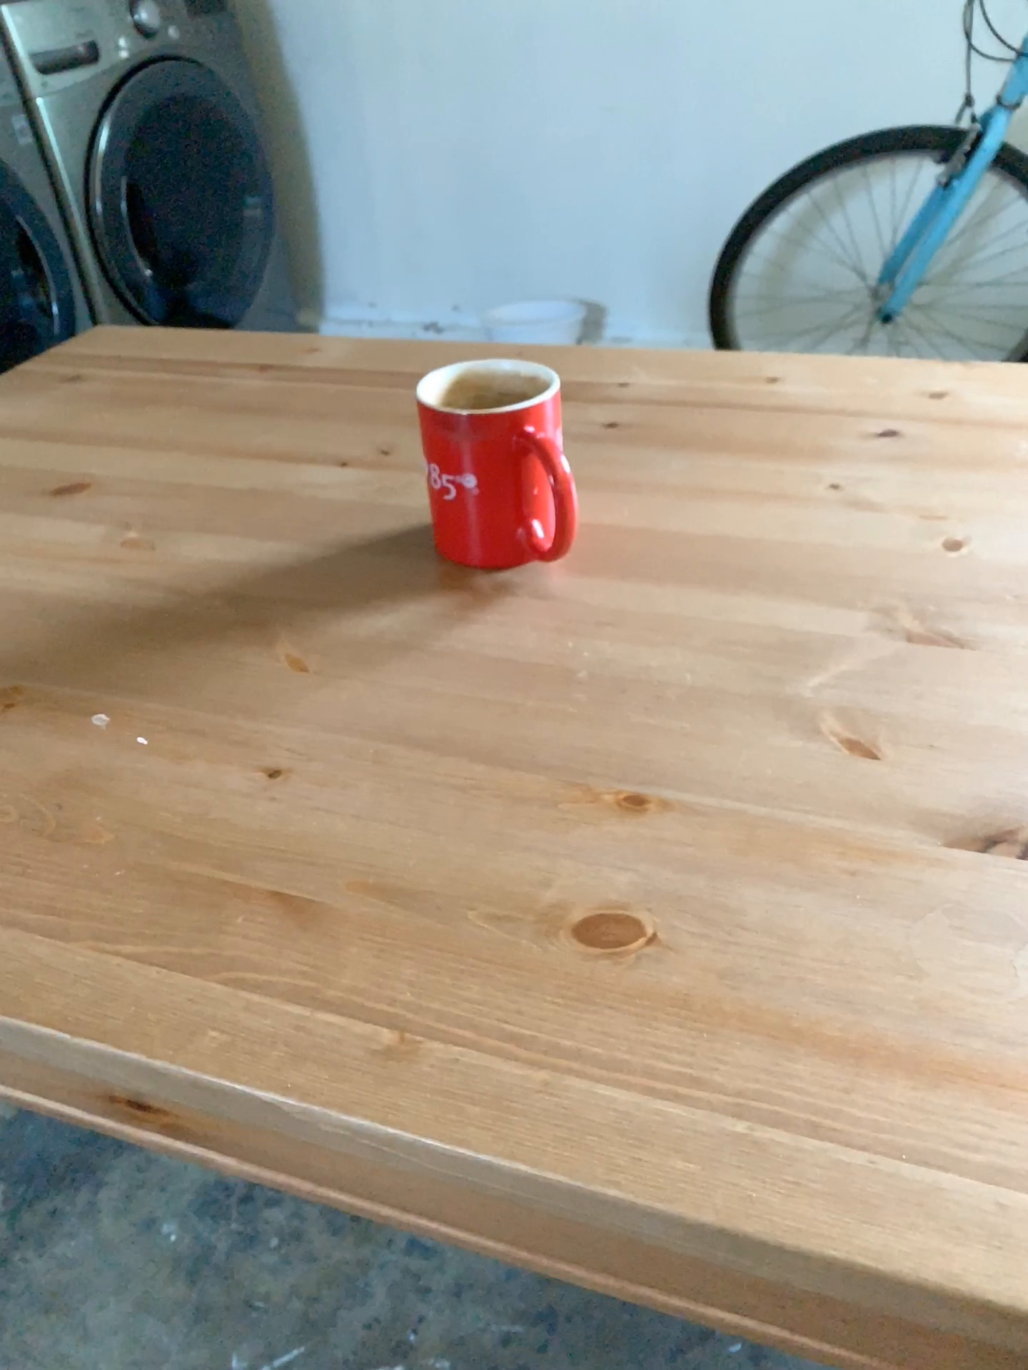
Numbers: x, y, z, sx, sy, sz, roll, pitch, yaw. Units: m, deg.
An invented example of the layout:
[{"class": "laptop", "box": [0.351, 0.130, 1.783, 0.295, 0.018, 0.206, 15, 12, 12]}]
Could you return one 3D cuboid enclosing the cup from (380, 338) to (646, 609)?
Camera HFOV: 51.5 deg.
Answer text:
[{"class": "cup", "box": [-0.002, -0.126, 0.610, 0.100, 0.090, 0.131, -19, 38, -17]}]
